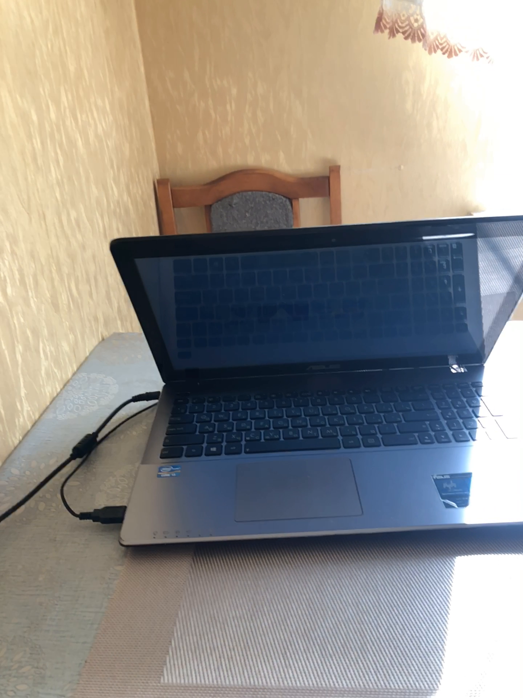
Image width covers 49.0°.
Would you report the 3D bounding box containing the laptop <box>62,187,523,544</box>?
[{"bbox_3d":[0.065,-0.006,0.507,0.369,0.196,0.243,-4,26,1],"label":"laptop"}]
